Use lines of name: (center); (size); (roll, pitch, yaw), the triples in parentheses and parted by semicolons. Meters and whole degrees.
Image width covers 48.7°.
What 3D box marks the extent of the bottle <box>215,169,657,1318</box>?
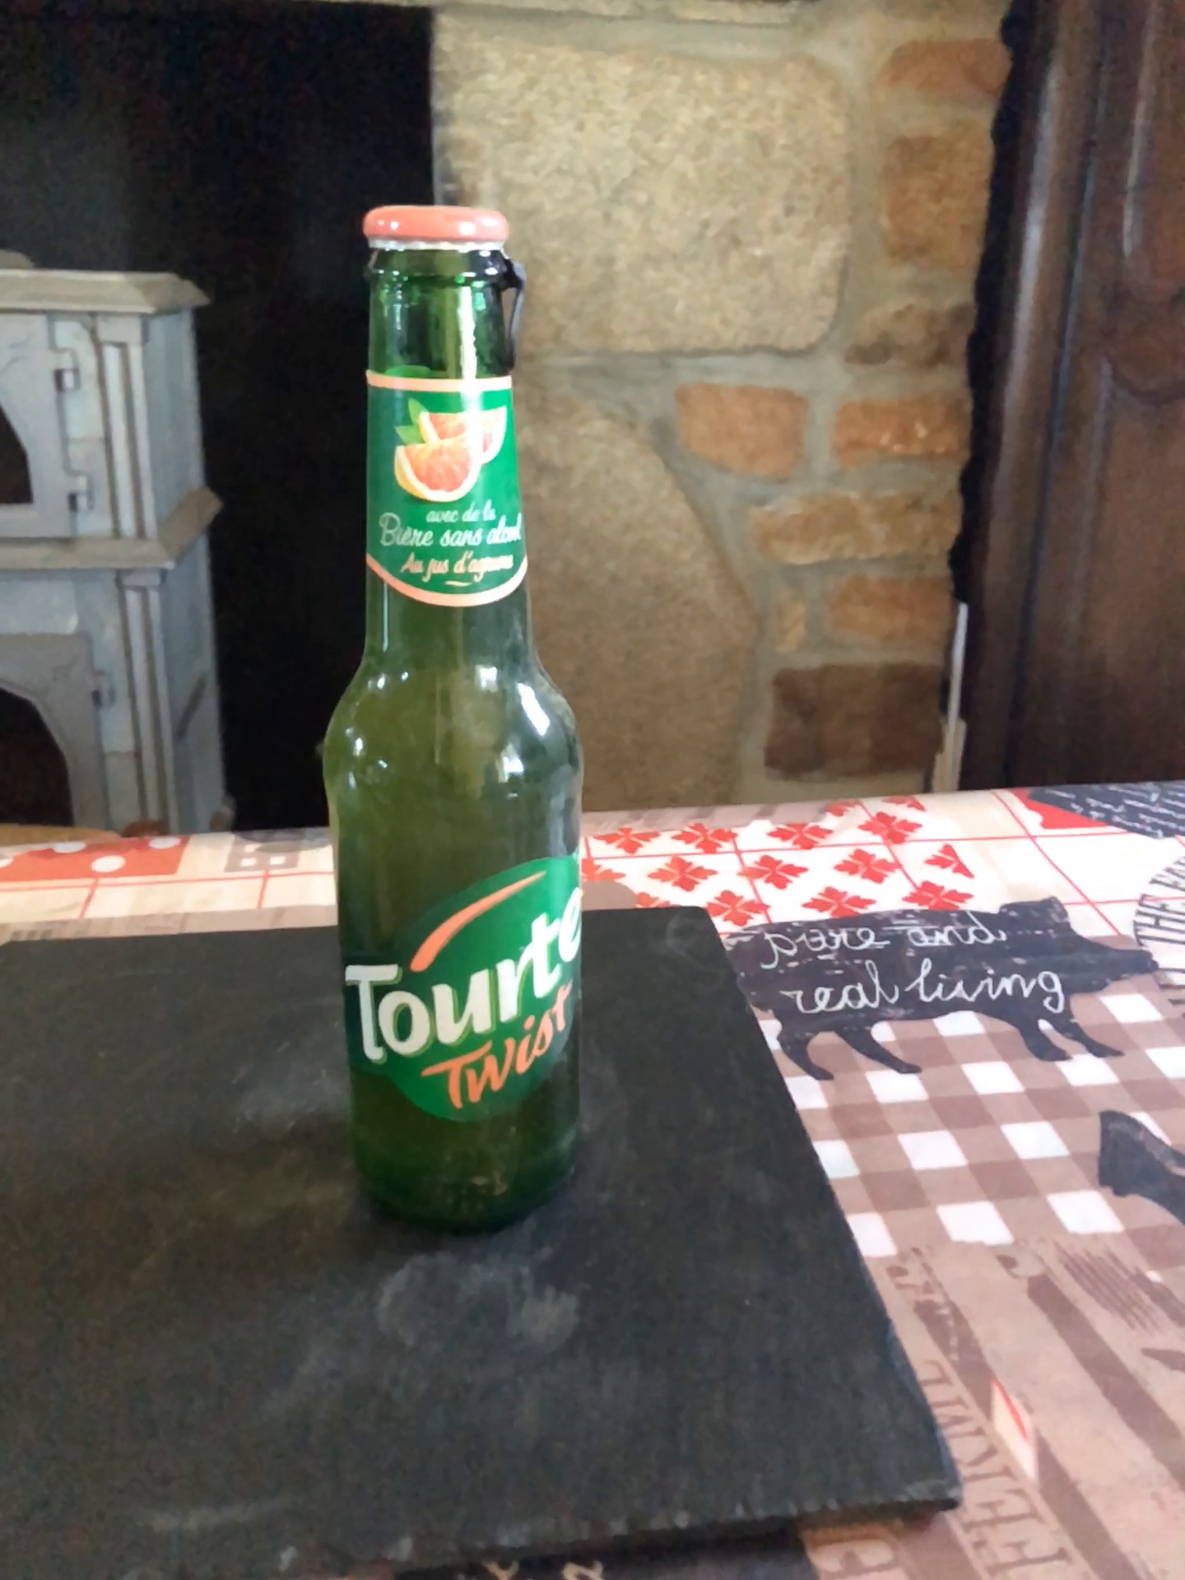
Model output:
bottle: (-0.034, -0.005, 0.285); (0.070, 0.229, 0.060); (-7, 22, -19)
